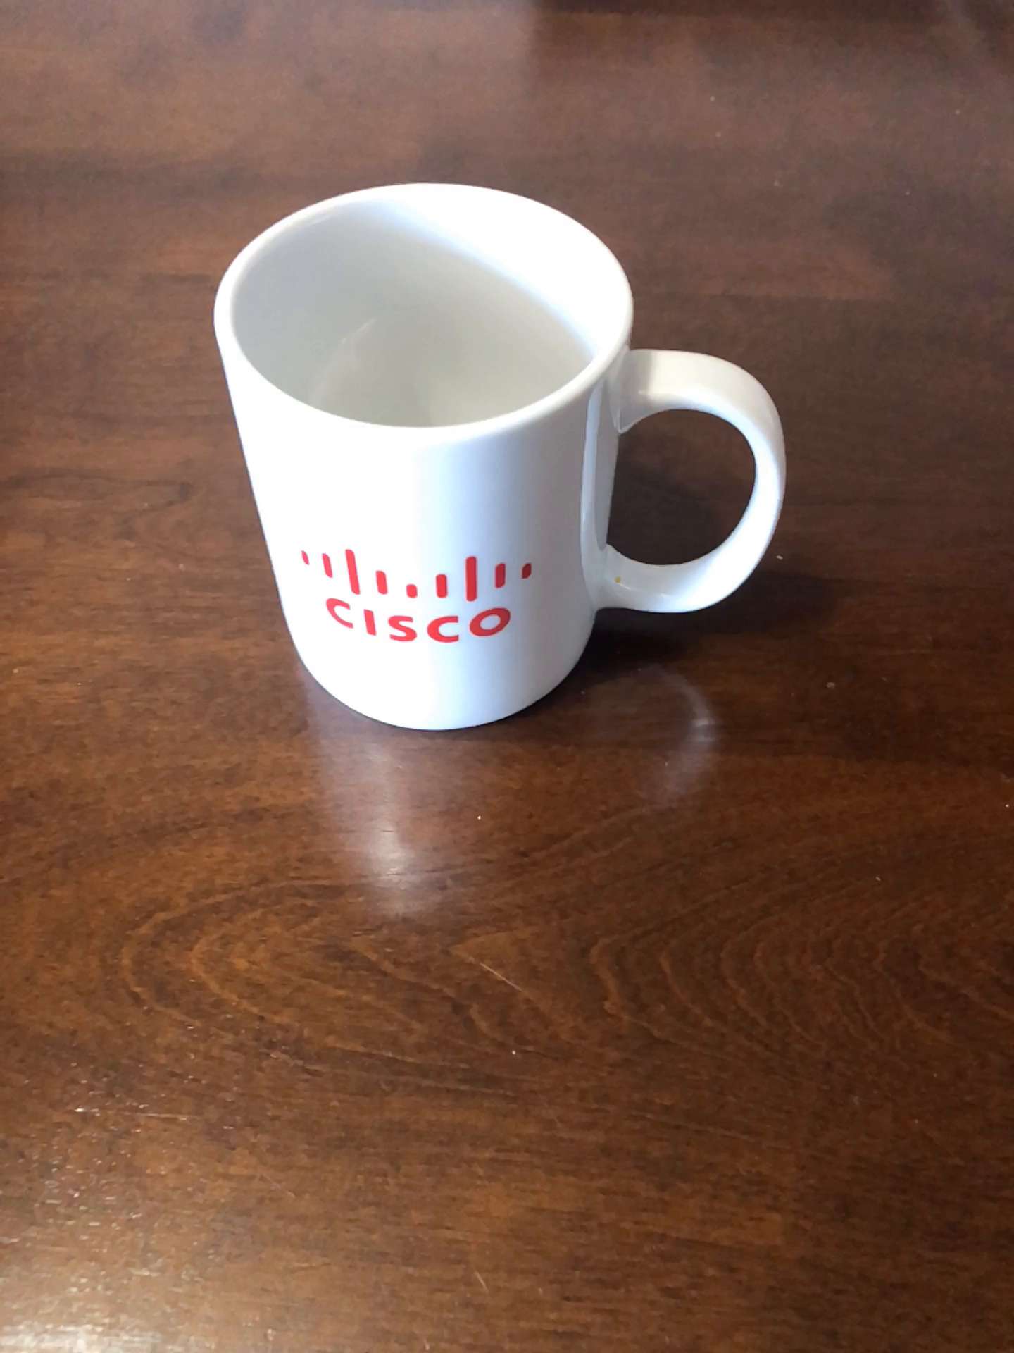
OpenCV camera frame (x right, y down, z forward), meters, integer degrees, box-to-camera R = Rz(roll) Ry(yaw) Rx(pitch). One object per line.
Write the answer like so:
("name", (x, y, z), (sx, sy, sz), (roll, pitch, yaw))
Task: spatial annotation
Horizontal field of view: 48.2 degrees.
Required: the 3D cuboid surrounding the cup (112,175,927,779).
("cup", (0.004, -0.040, 0.240), (0.130, 0.090, 0.080), (3, 53, 2))
